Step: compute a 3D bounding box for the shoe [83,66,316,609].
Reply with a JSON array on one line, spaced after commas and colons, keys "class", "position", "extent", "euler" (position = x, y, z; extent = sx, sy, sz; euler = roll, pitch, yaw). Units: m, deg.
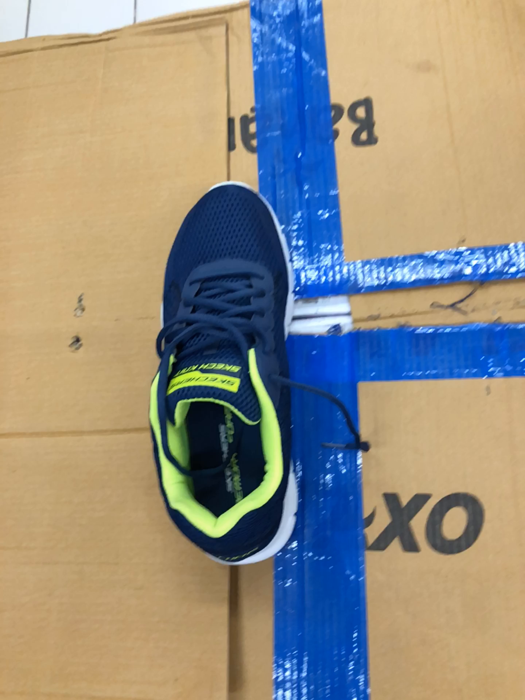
[{"class": "shoe", "position": [-0.035, -0.004, 0.398], "extent": [0.106, 0.146, 0.307], "euler": [-5, 76, 10]}]
